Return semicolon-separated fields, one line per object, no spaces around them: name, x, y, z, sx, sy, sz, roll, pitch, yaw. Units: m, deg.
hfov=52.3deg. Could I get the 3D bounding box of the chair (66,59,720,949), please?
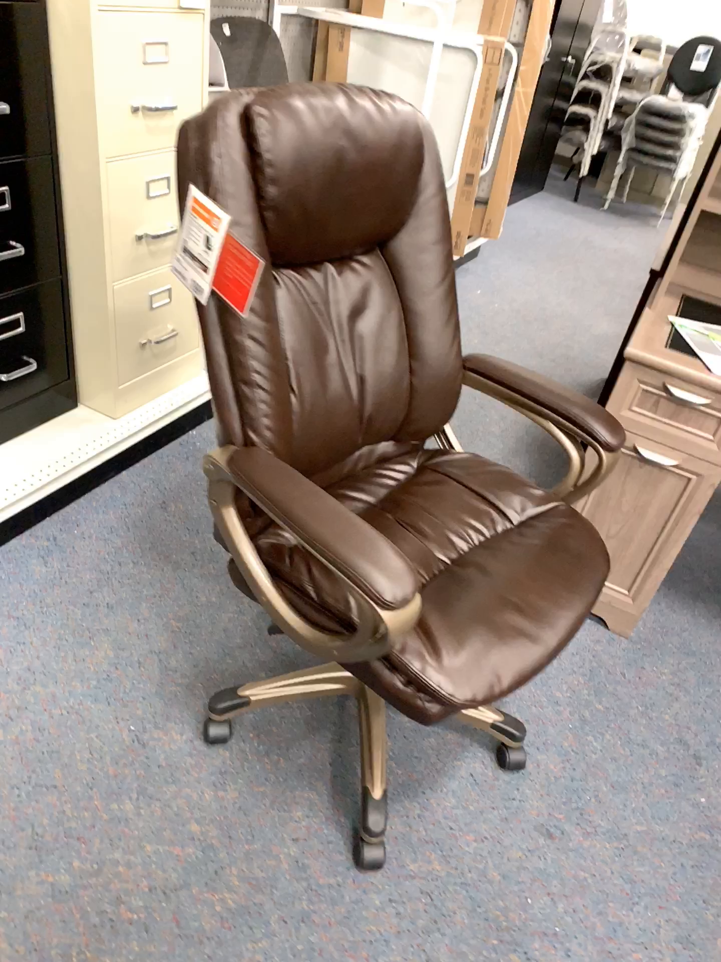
chair;0.058;-0.013;1.307;0.813;1.112;0.726;36;42;30
